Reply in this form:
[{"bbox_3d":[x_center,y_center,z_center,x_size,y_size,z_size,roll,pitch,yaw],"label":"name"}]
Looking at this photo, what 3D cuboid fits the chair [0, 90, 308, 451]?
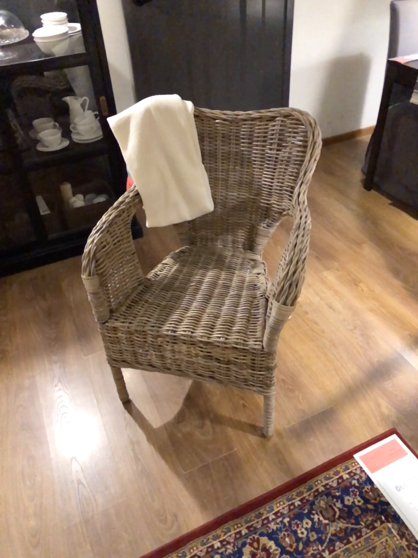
[{"bbox_3d":[-0.075,-0.049,1.397,0.621,0.815,0.634,7,40,14],"label":"chair"}]
